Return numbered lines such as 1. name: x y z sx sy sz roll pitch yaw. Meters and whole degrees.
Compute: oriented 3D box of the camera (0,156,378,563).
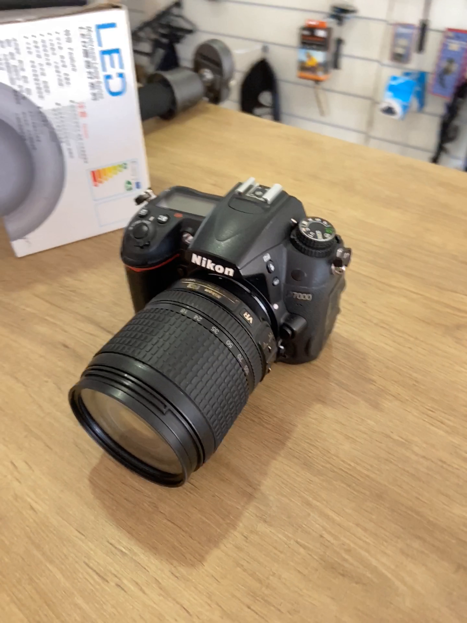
1. camera: -0.020 0.007 0.261 0.140 0.099 0.161 17 44 20
